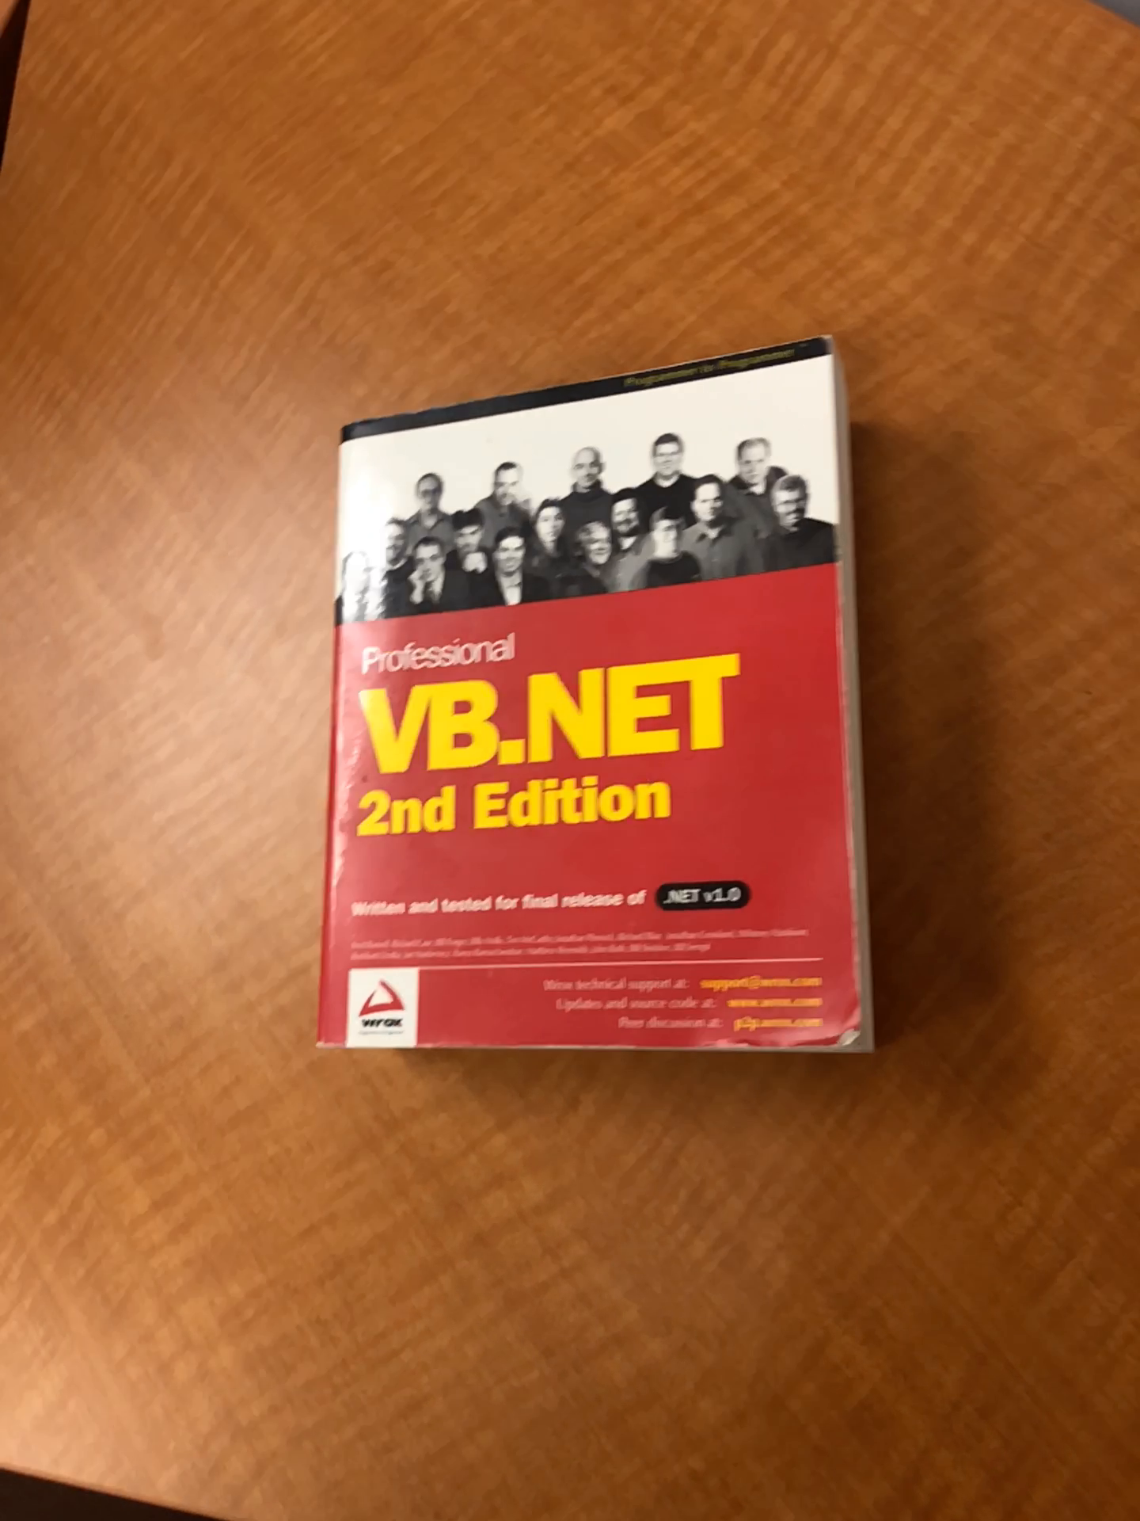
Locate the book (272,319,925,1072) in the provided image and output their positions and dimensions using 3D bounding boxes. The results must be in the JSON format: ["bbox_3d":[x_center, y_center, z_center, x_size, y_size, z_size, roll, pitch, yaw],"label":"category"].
[{"bbox_3d":[0.010,-0.014,0.429,0.200,0.060,0.230,-4,75,19],"label":"book"}]
